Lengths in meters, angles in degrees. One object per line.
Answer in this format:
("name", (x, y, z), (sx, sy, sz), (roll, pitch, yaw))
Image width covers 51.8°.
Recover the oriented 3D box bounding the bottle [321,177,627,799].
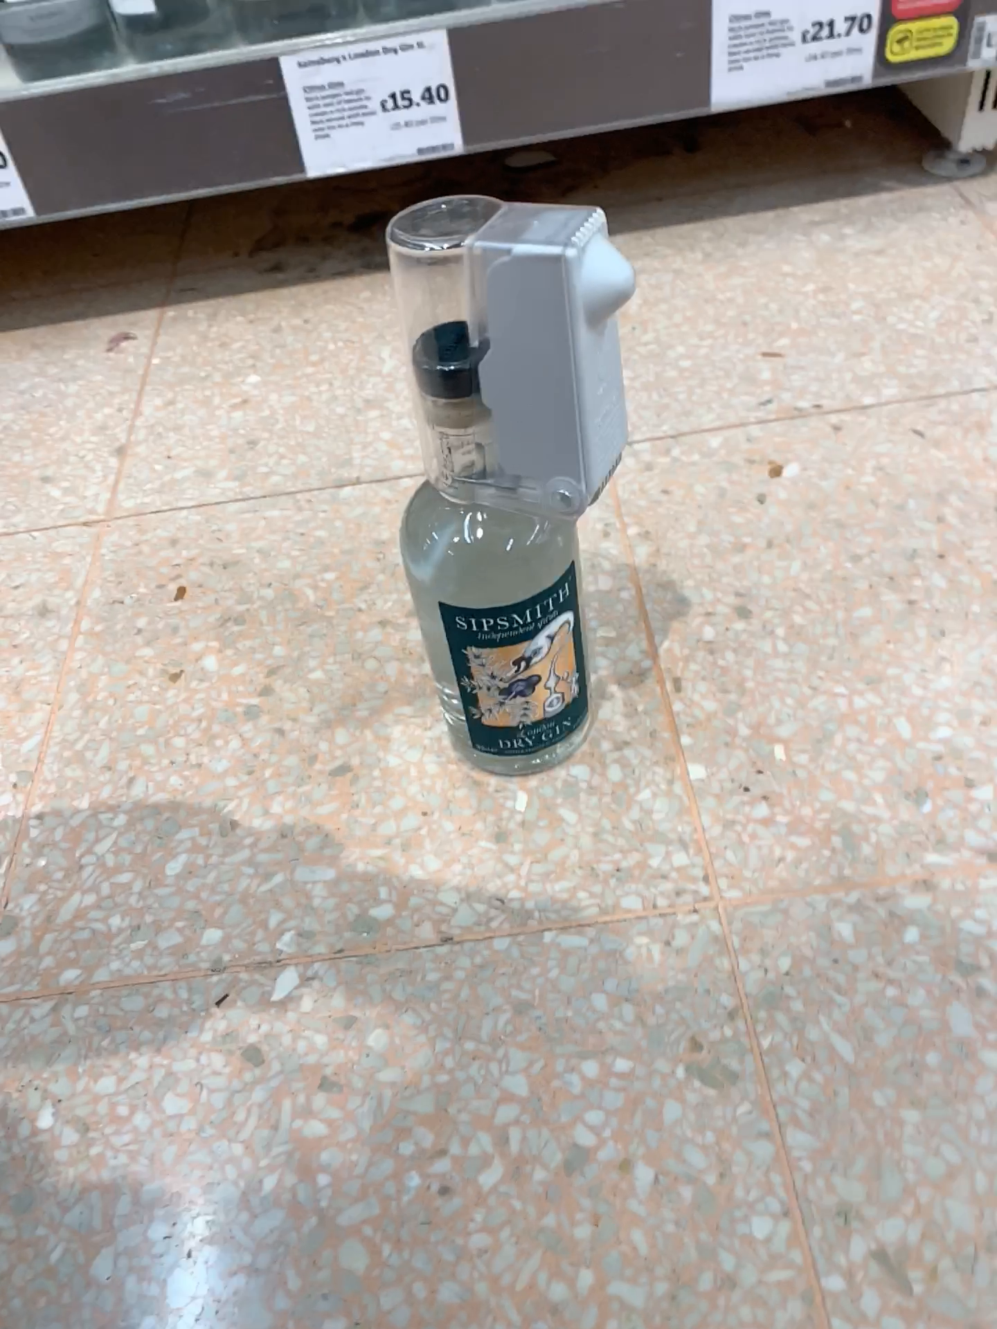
("bottle", (0.000, -0.048, 0.383), (0.074, 0.222, 0.069), (-5, 48, 5))
